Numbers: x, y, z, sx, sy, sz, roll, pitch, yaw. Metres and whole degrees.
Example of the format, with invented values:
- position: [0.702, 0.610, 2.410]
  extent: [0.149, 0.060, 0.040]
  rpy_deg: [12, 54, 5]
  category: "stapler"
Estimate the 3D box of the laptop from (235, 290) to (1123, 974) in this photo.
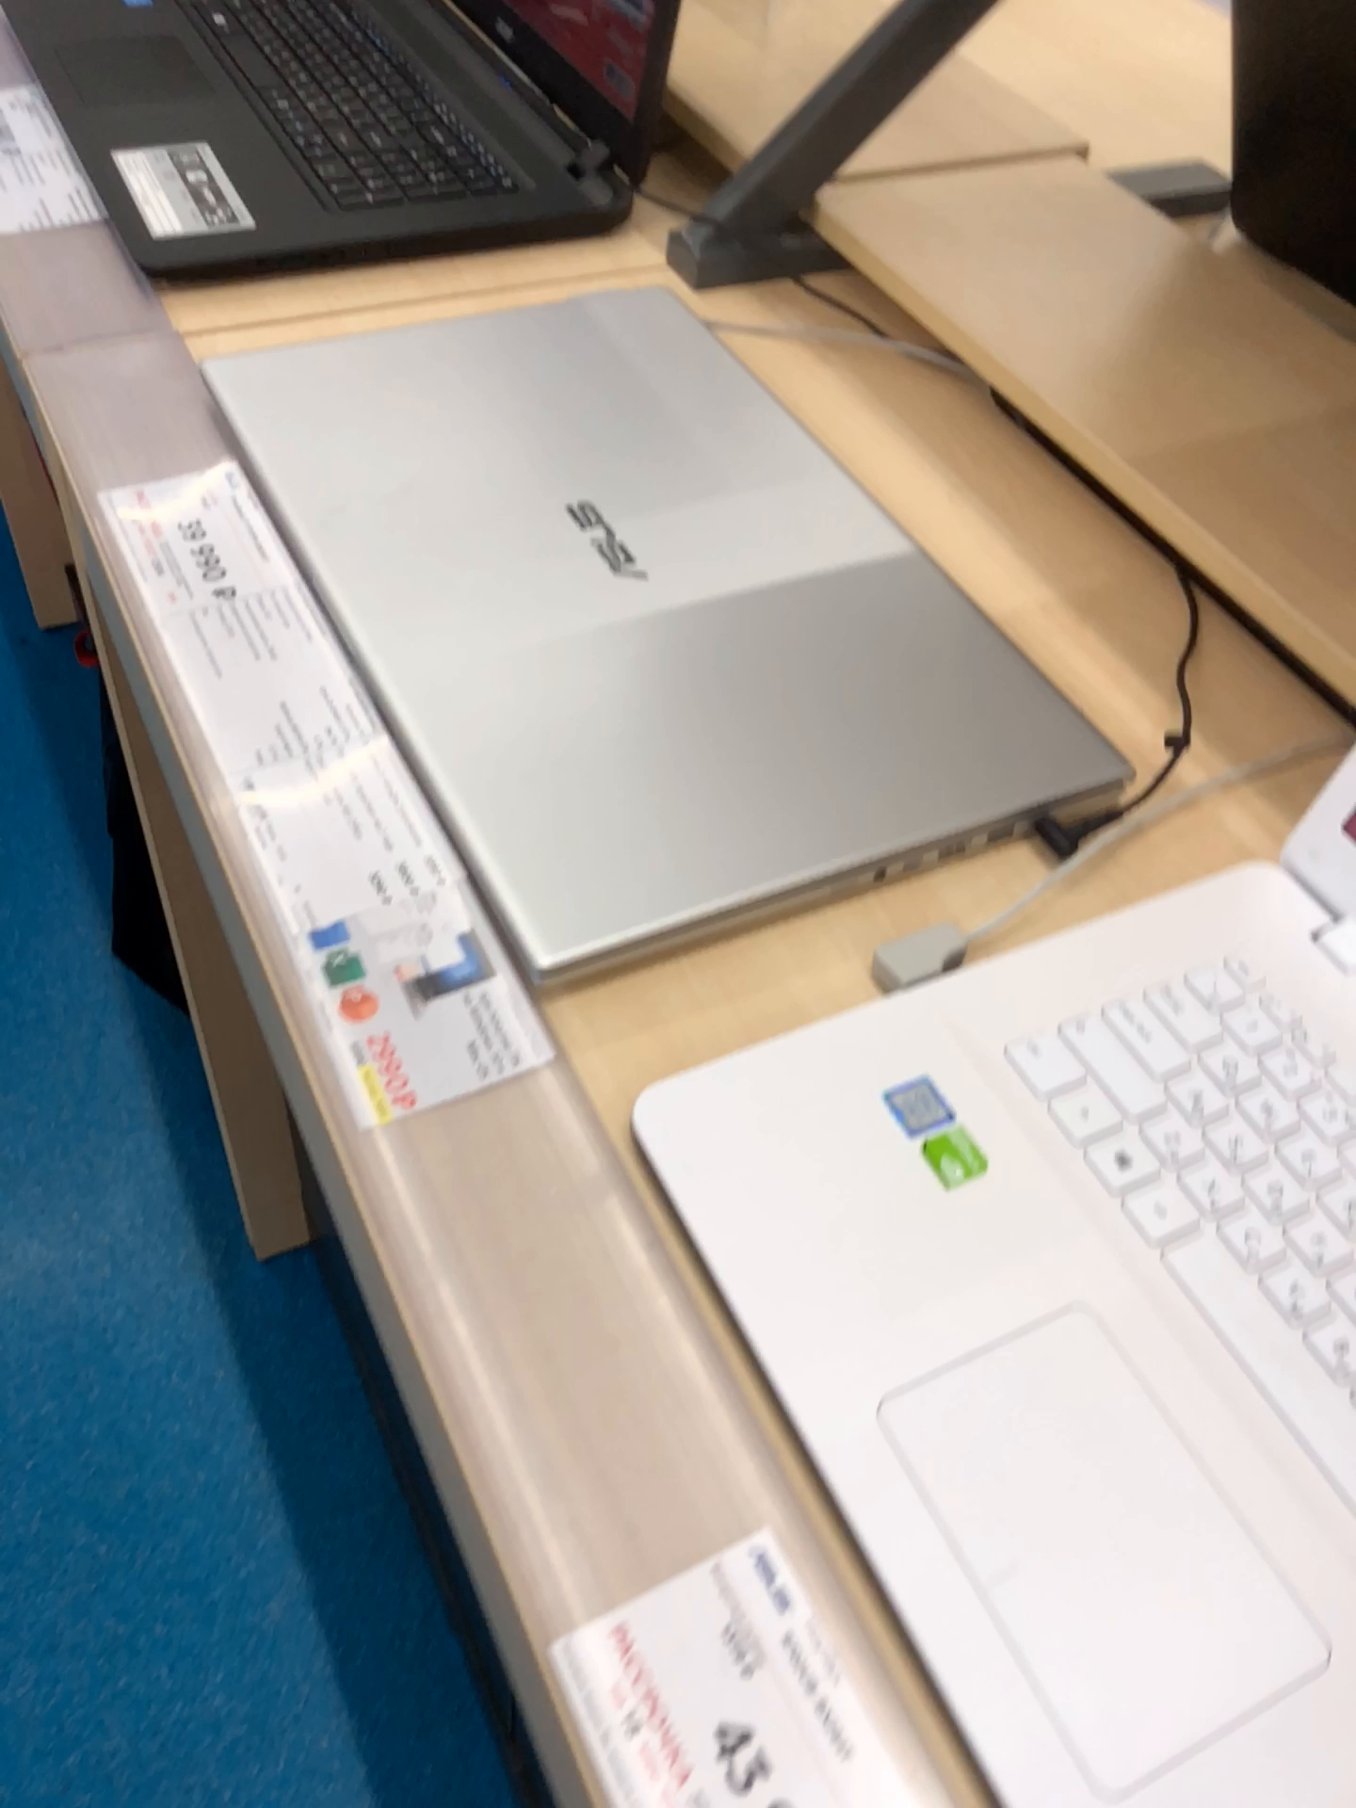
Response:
- position: [-0.021, -0.151, 0.640]
  extent: [0.233, 0.006, 0.393]
  rpy_deg: [-19, 53, -19]
  category: "laptop"
